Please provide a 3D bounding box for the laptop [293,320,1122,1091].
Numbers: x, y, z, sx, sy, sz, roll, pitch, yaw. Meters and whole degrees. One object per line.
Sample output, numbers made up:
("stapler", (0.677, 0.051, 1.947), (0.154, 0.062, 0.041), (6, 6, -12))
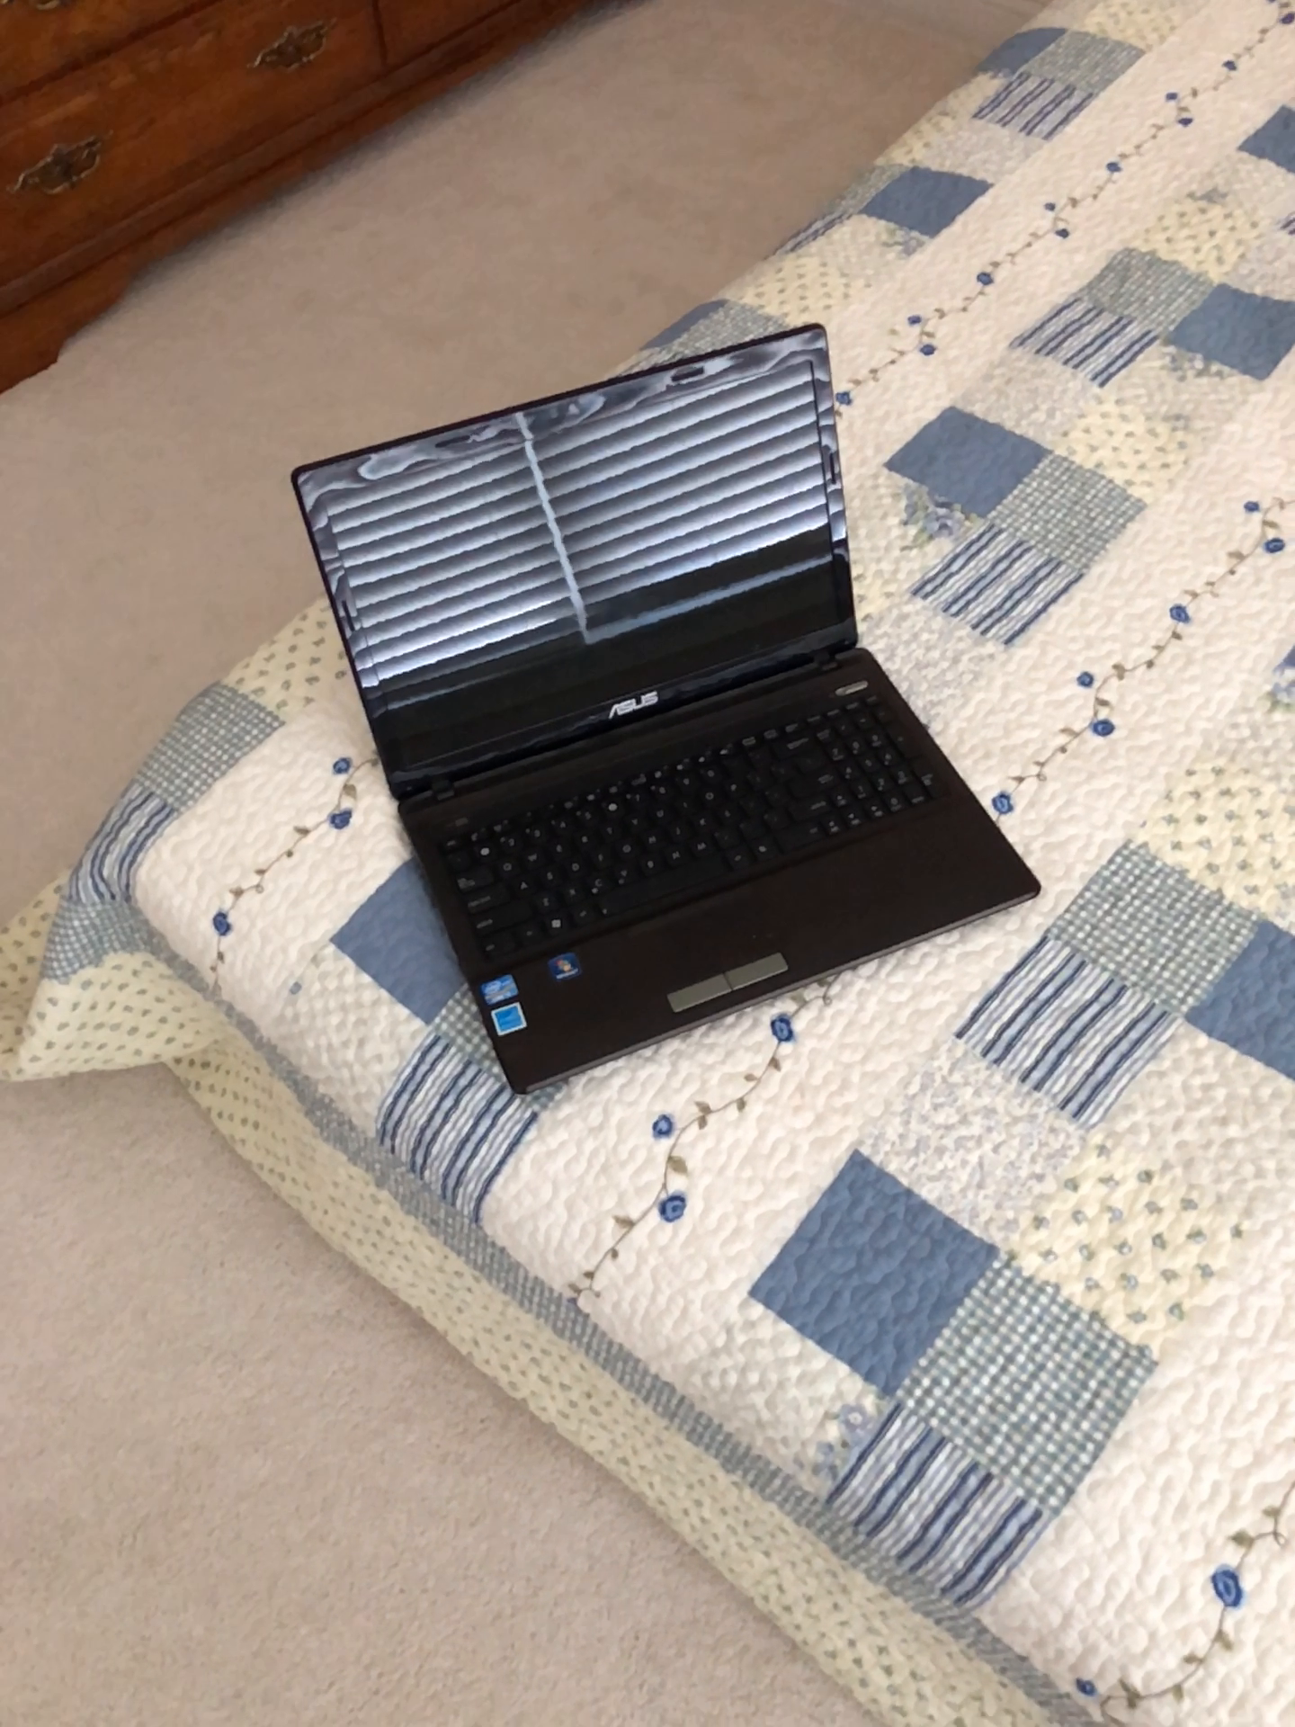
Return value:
("laptop", (0.019, -0.112, 0.887), (0.358, 0.193, 0.351), (-19, 58, -12))
